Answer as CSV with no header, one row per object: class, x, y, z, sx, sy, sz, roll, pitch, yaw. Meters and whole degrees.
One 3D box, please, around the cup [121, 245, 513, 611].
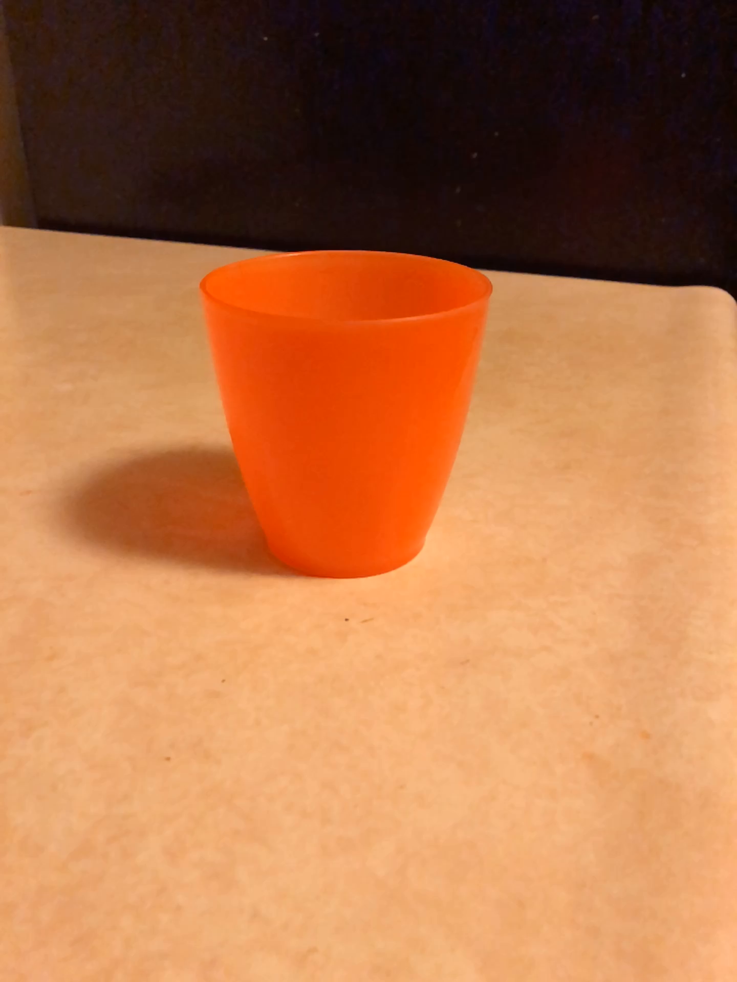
cup,-0.009,-0.024,0.233,0.080,0.070,0.080,0,27,0
